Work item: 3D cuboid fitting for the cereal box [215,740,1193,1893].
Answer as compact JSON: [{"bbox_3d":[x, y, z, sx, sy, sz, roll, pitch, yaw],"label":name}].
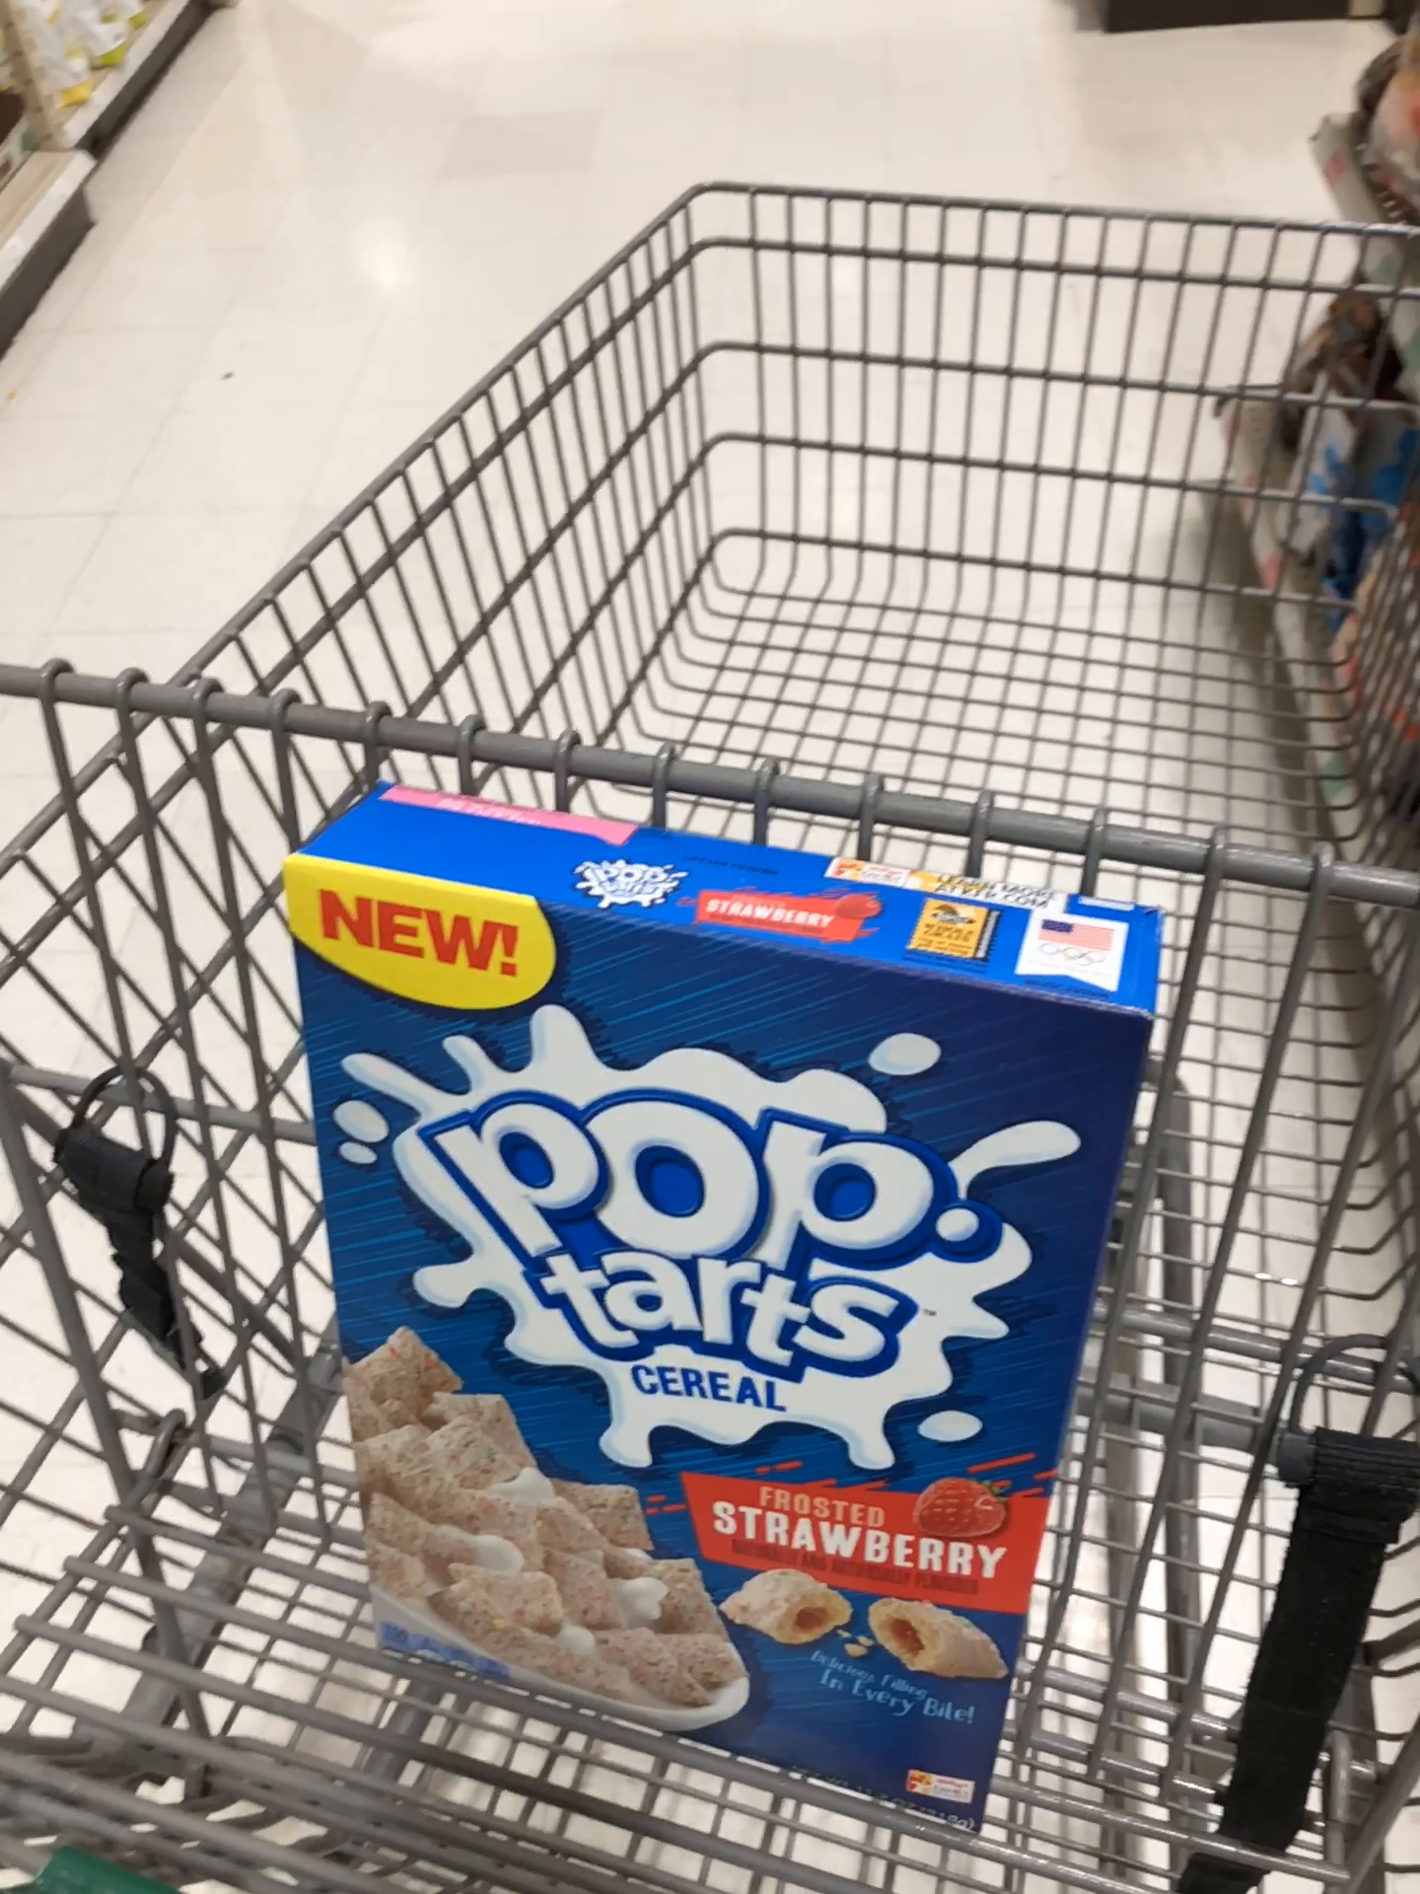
[{"bbox_3d":[-0.007,0.101,0.399,0.200,0.280,0.050,11,31,16],"label":"cereal box"}]
